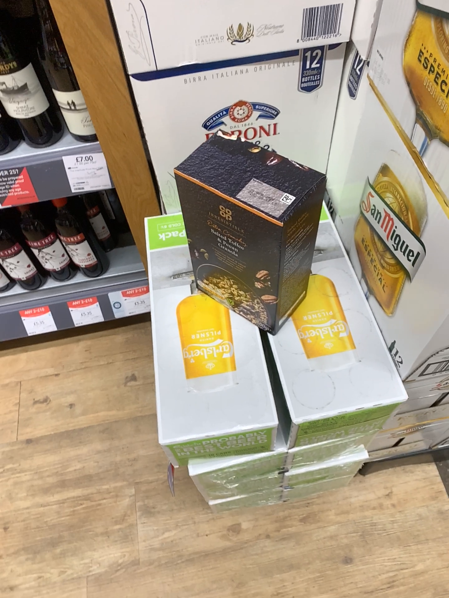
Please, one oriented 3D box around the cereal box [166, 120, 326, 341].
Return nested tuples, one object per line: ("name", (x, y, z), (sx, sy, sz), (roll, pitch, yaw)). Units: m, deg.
("cereal box", (0.025, -0.063, 0.502), (0.120, 0.208, 0.080), (31, 64, 22))
